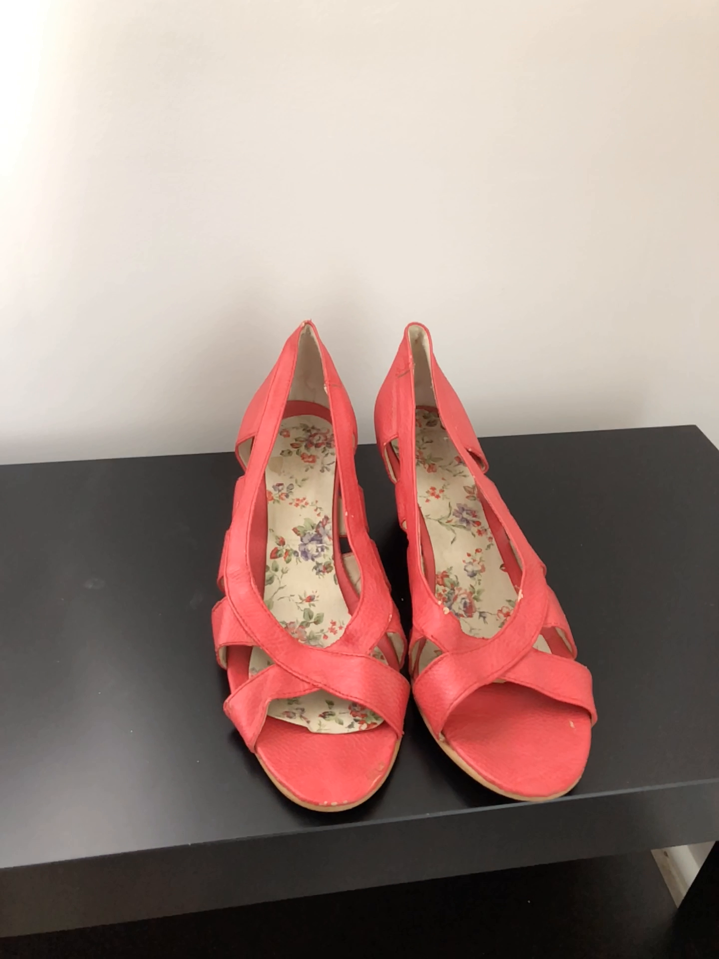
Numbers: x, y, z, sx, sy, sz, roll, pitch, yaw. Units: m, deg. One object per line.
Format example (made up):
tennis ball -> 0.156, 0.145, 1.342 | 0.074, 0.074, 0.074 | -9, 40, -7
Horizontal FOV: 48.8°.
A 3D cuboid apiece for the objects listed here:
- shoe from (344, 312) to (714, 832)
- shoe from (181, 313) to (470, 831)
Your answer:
shoe -> 0.051, 0.020, 0.362 | 0.077, 0.100, 0.231 | -4, 37, -9
shoe -> -0.030, 0.020, 0.355 | 0.087, 0.100, 0.221 | -4, 37, -9
